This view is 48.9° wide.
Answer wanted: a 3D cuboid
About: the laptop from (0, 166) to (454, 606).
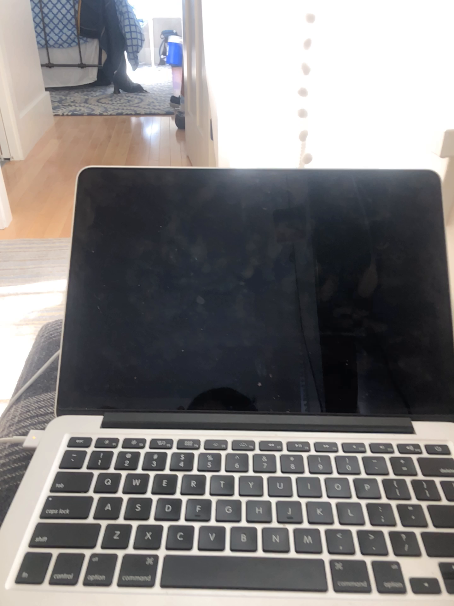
[{"bbox_3d":[0.022,0.042,0.312,0.306,0.142,0.368,1,32,2],"label":"laptop"}]
